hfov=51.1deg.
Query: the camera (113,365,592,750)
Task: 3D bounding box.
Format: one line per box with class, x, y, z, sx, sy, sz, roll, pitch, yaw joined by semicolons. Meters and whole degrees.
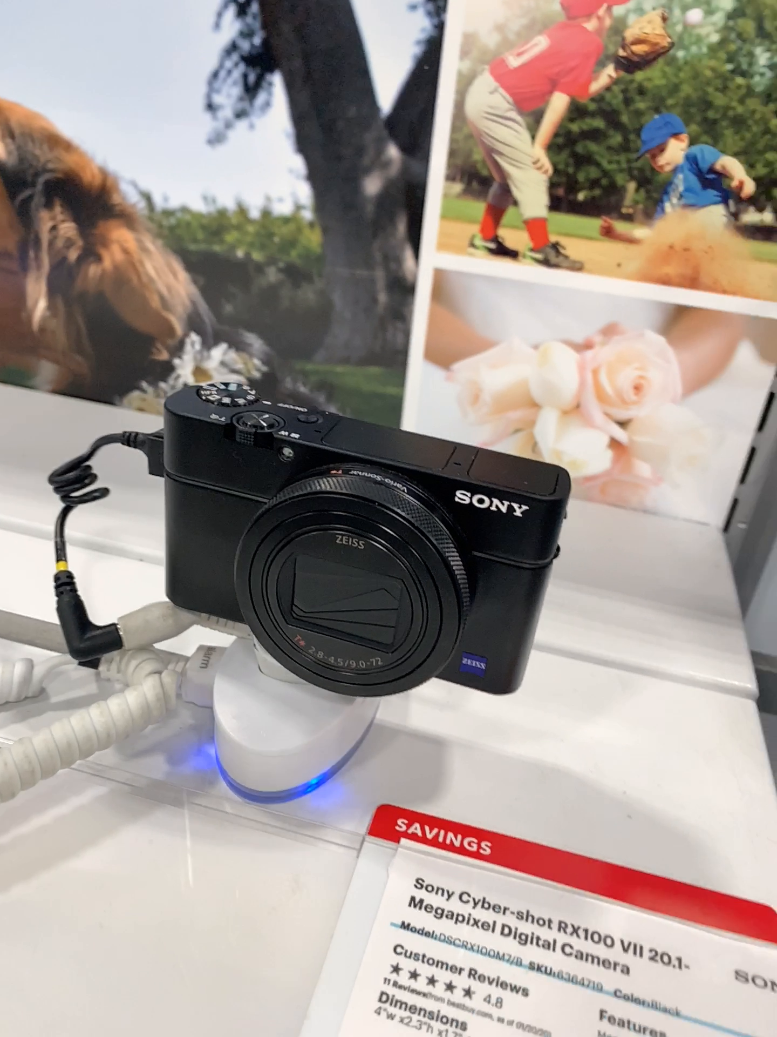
camera;-0.010;0.006;0.204;0.105;0.060;0.043;14;28;10
